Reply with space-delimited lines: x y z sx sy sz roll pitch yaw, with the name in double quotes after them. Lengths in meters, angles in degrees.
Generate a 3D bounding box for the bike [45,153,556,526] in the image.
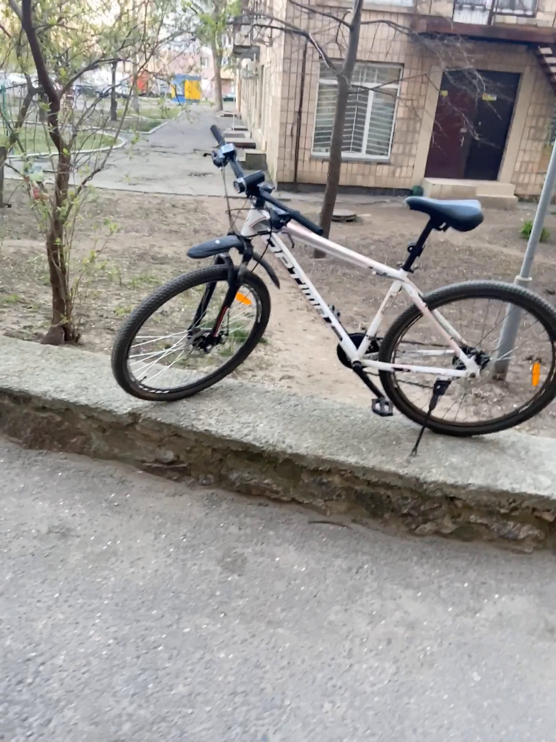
0.259 -0.130 2.033 1.750 1.144 0.682 2 26 -1 "bike"
